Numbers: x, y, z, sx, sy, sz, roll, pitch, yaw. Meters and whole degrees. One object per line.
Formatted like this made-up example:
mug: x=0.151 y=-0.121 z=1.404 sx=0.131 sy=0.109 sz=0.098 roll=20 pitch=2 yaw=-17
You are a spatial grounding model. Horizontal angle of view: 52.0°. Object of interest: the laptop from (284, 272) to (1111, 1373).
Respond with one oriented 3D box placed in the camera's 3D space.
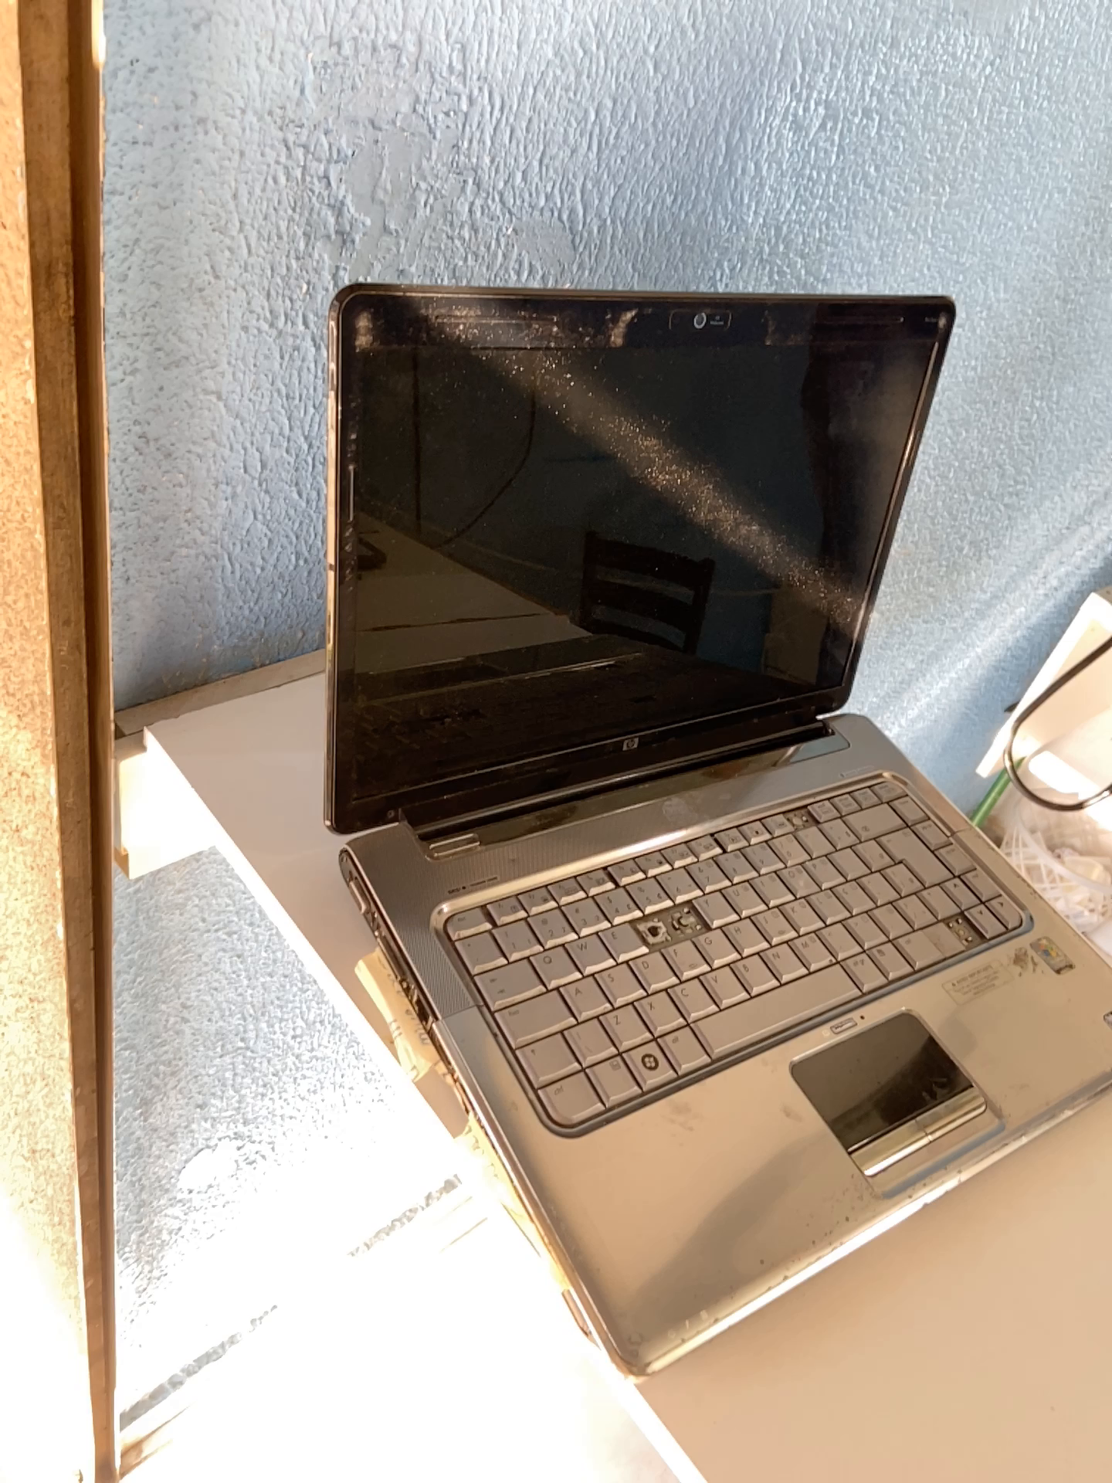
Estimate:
laptop: x=0.117 y=-0.012 z=0.504 sx=0.353 sy=0.233 sz=0.329 roll=-12 pitch=48 yaw=-32
